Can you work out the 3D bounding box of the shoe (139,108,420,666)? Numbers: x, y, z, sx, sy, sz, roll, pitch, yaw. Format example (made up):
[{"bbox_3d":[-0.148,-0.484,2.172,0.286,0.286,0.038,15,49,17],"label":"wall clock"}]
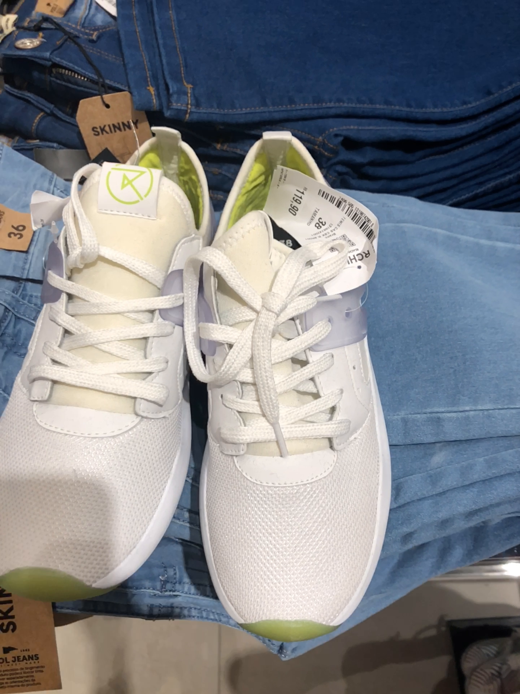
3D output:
[{"bbox_3d":[0.012,0.013,0.294,0.100,0.090,0.251,-3,67,8],"label":"shoe"}]

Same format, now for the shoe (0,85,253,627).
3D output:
[{"bbox_3d":[-0.078,-0.017,0.306,0.110,0.120,0.261,8,47,0],"label":"shoe"}]
